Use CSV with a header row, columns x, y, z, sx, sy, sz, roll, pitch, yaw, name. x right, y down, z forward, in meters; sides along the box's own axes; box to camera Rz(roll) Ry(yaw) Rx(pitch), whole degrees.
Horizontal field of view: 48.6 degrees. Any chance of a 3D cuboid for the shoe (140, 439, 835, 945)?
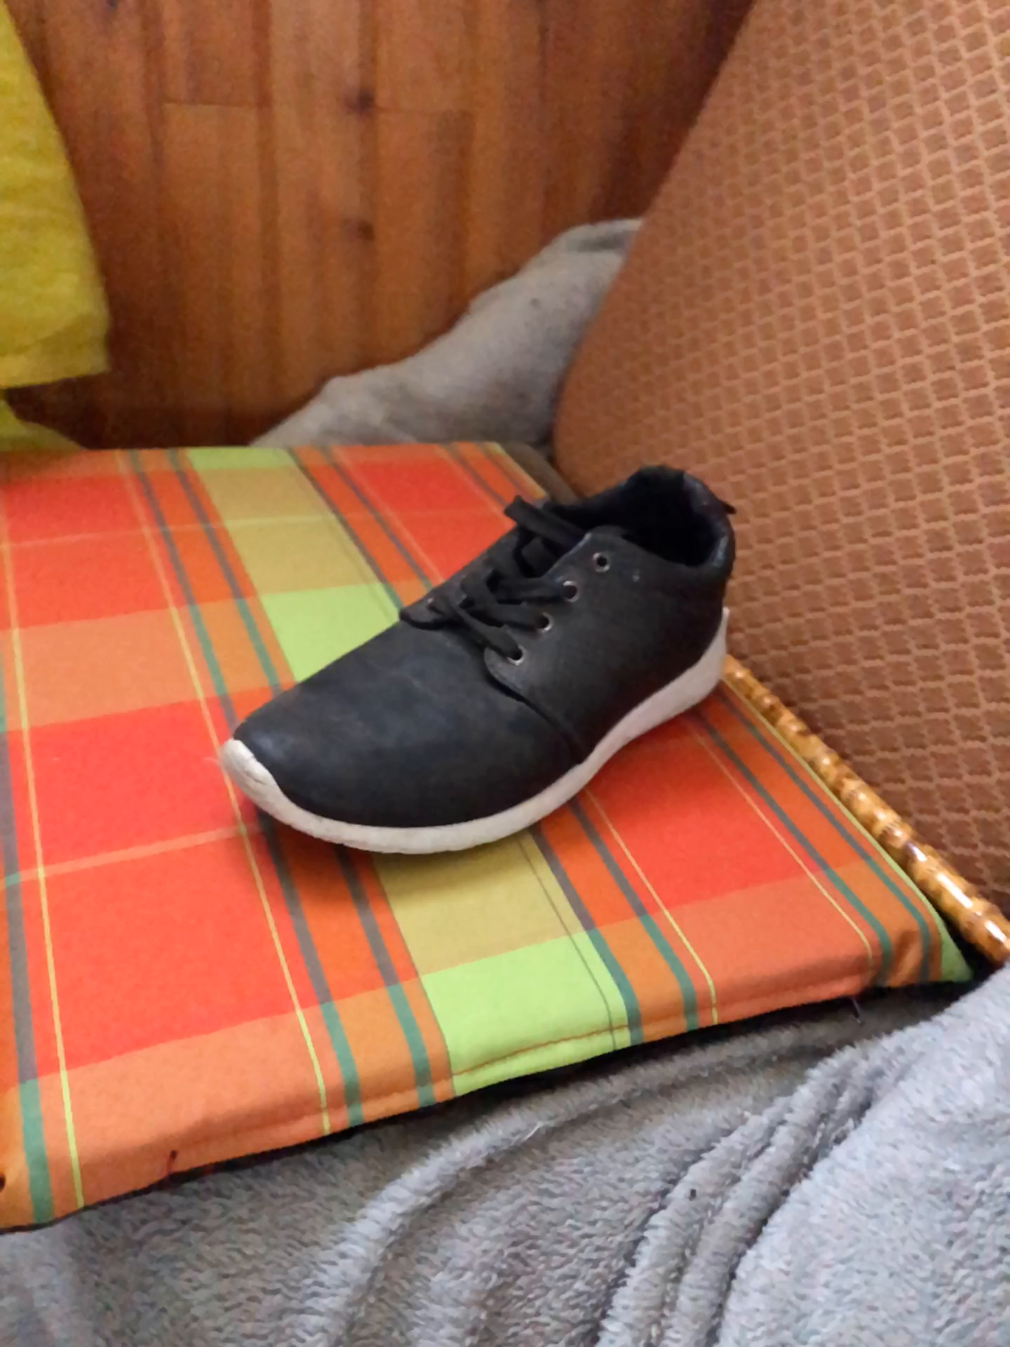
x,y,z,sx,sy,sz,roll,pitch,yaw,name
0.006,-0.014,0.455,0.268,0.079,0.110,-25,43,-38,shoe
